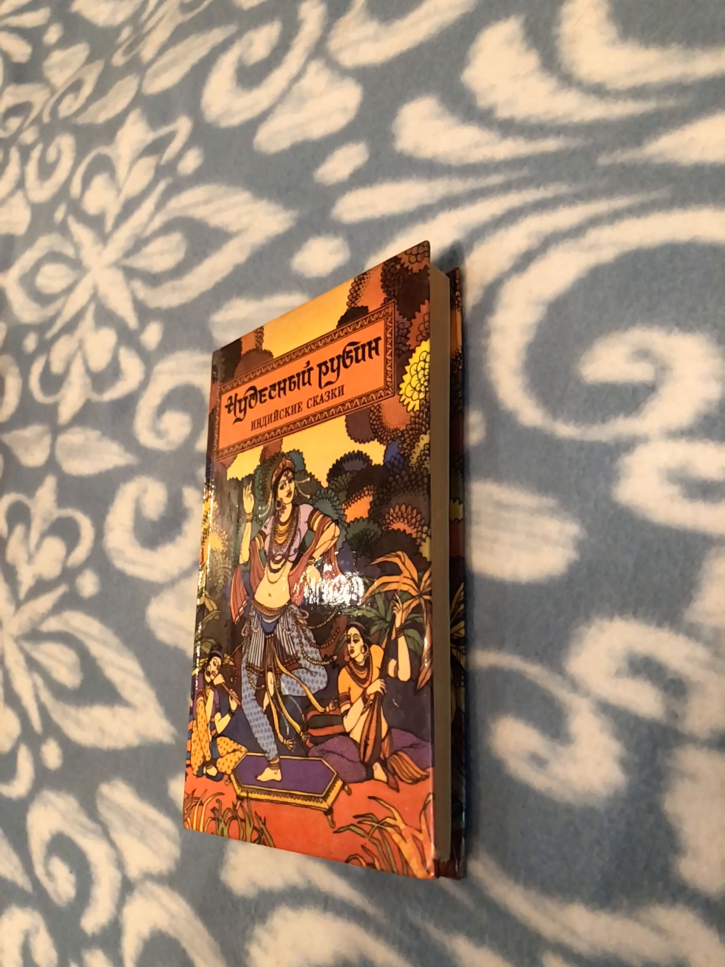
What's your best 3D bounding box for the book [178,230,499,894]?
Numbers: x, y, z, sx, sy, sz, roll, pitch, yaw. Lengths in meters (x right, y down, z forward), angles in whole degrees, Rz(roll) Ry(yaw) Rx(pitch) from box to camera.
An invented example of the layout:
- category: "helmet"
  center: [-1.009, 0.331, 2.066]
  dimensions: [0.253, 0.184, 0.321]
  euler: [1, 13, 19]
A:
- category: "book"
  center: [-0.016, 0.029, 0.311]
  dimensions: [0.140, 0.027, 0.210]
  euler: [-15, 69, 45]
